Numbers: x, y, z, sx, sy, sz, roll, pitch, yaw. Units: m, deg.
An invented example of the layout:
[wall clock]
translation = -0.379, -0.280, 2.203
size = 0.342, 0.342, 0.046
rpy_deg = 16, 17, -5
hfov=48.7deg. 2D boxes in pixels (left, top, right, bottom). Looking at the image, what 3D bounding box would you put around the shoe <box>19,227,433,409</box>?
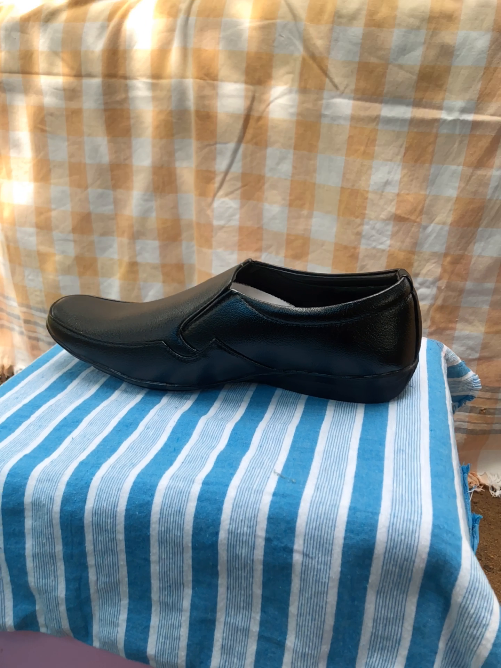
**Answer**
[shoe]
translation = -0.017, -0.020, 0.463
size = 0.300, 0.109, 0.101
rpy_deg = 3, 23, 7
